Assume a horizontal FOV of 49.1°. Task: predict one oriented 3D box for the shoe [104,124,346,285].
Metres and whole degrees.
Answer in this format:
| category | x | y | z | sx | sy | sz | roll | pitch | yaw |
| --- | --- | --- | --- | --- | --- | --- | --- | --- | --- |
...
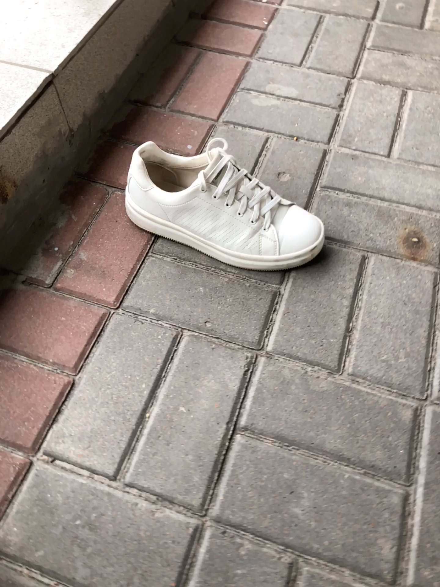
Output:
| category | x | y | z | sx | sy | sz | roll | pitch | yaw |
| --- | --- | --- | --- | --- | --- | --- | --- | --- | --- |
| shoe | 0.008 | -0.125 | 0.666 | 0.292 | 0.119 | 0.111 | 15 | 55 | 12 |
